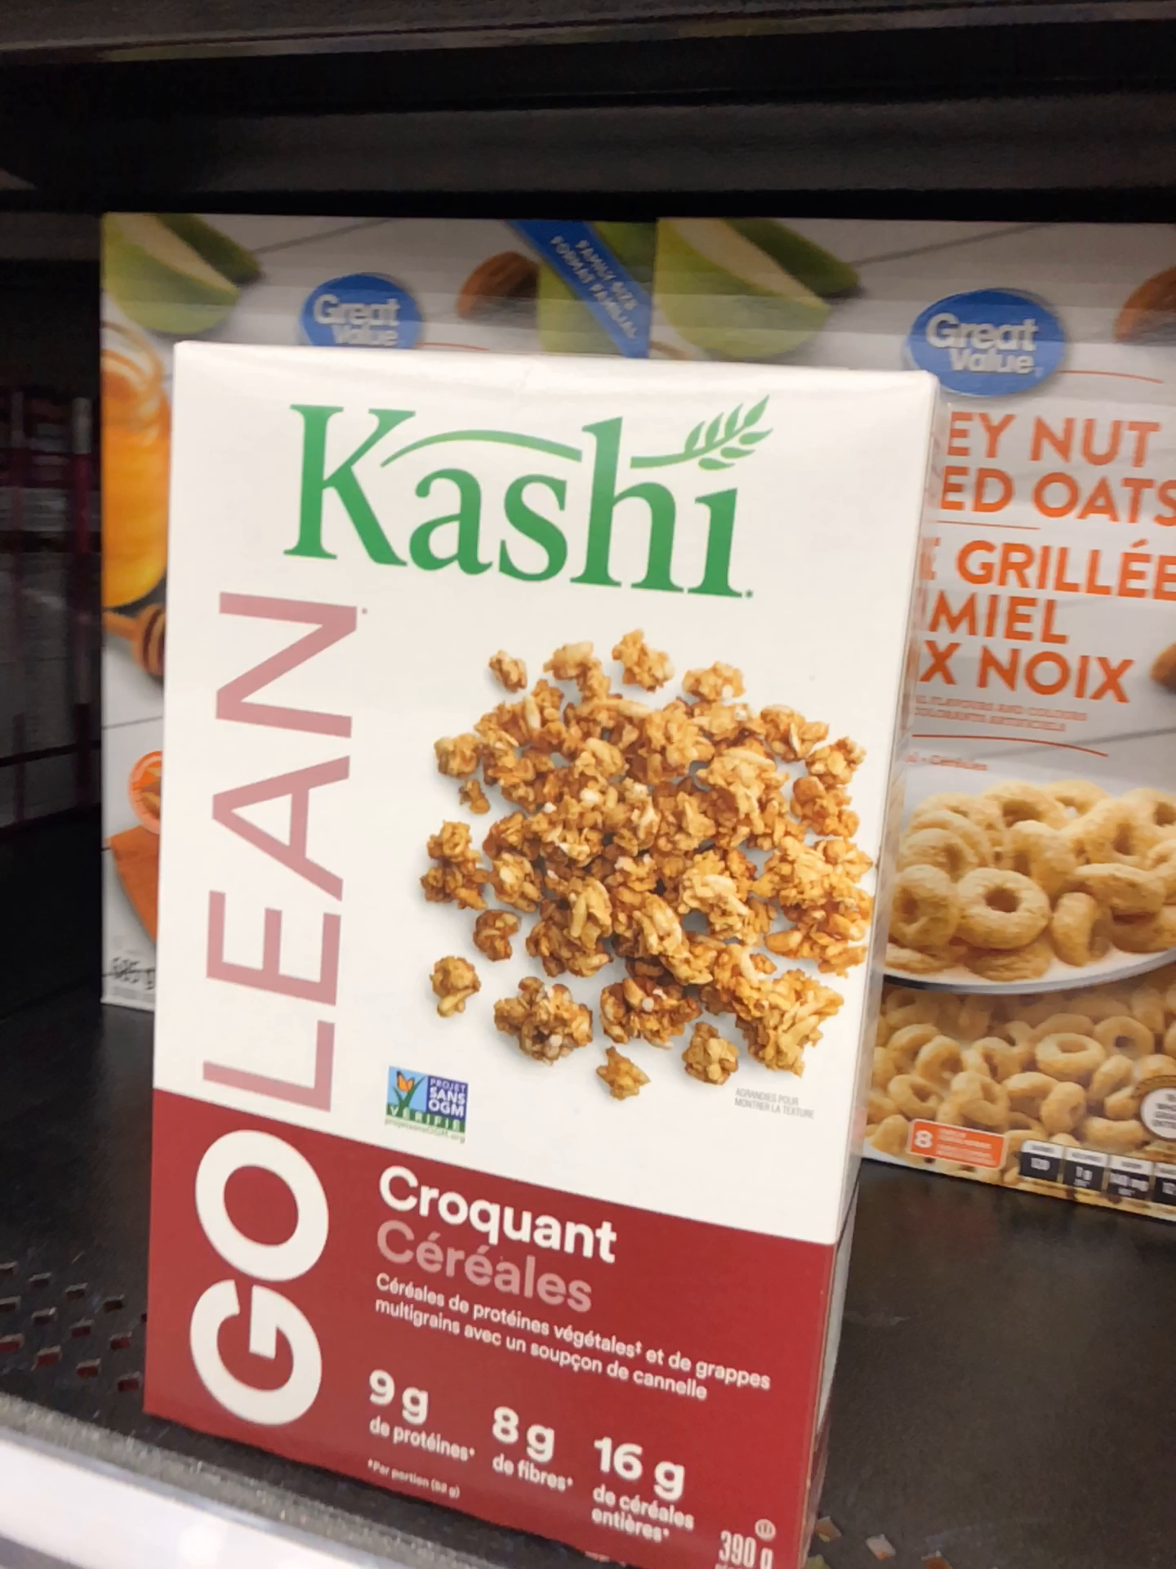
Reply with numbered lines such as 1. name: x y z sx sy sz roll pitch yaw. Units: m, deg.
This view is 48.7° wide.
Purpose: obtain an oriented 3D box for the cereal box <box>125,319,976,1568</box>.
1. cereal box: -0.017 0.036 0.296 0.170 0.259 0.050 7 12 17
